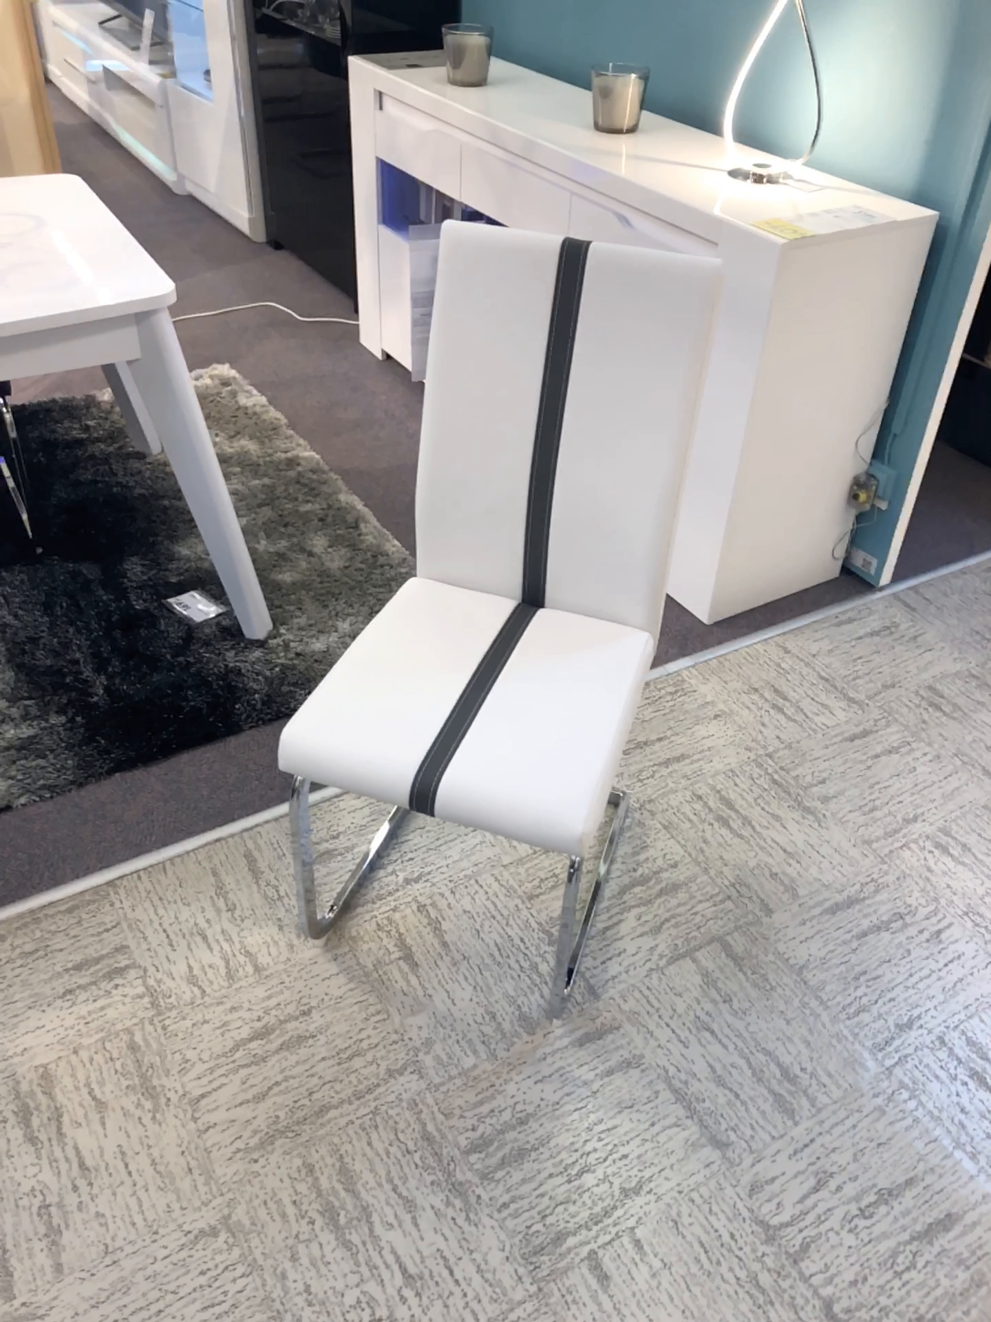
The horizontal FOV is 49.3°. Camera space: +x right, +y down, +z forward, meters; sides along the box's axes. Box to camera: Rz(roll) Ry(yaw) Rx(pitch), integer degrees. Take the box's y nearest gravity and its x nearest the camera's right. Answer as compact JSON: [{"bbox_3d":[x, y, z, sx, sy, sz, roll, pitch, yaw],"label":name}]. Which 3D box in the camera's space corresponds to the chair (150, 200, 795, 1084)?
[{"bbox_3d":[0.004,-0.028,1.392,0.487,0.878,0.573,15,40,16],"label":"chair"}]
